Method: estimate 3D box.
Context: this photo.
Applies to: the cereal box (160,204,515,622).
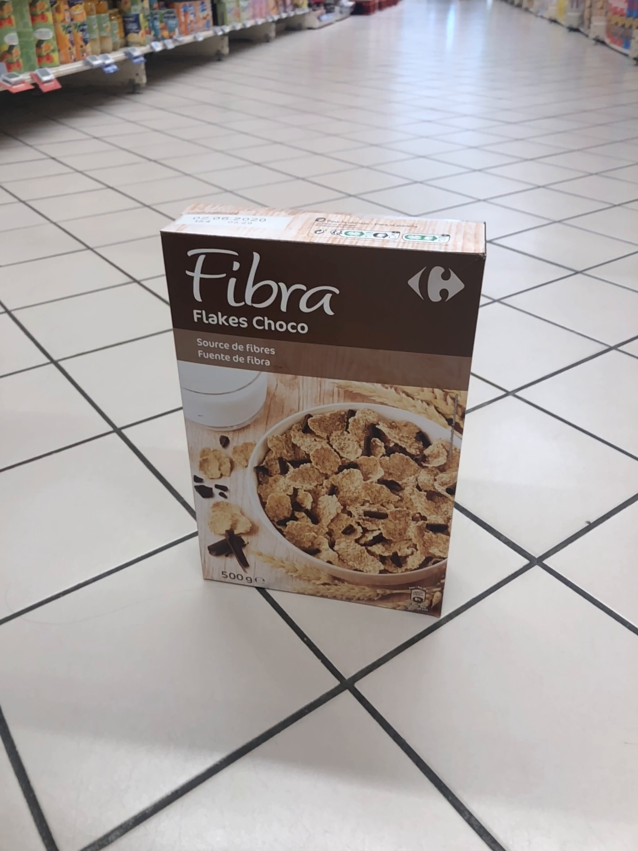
[{"bbox_3d":[0.014,0.000,0.494,0.200,0.278,0.070,6,33,10],"label":"cereal box"}]
